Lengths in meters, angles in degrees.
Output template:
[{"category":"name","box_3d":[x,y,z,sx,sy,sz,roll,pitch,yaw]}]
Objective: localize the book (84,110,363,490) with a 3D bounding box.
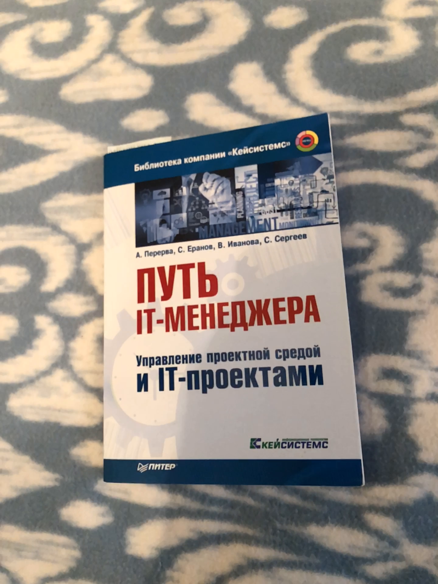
[{"category":"book","box_3d":[-0.006,0.006,0.321,0.173,0.019,0.228,-5,79,16]}]
